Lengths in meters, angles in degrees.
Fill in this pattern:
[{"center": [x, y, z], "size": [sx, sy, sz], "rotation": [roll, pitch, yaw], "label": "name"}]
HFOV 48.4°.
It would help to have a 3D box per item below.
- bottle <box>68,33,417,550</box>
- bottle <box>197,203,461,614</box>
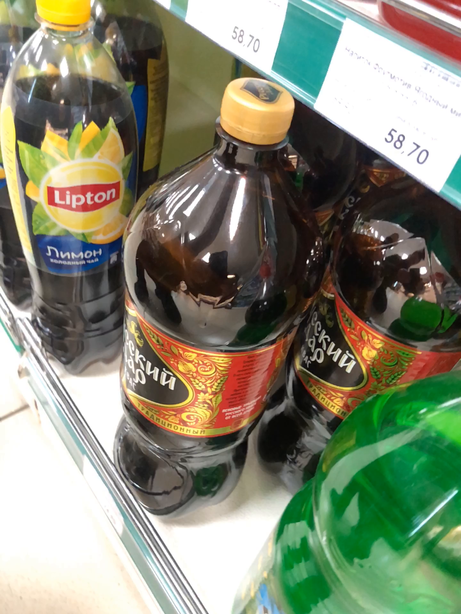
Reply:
[{"center": [-0.022, 0.022, 0.325], "size": [0.100, 0.322, 0.110], "rotation": [-21, 55, -29], "label": "bottle"}, {"center": [0.063, 0.121, 0.250], "size": [0.085, 0.327, 0.099], "rotation": [-21, 55, -29], "label": "bottle"}]
